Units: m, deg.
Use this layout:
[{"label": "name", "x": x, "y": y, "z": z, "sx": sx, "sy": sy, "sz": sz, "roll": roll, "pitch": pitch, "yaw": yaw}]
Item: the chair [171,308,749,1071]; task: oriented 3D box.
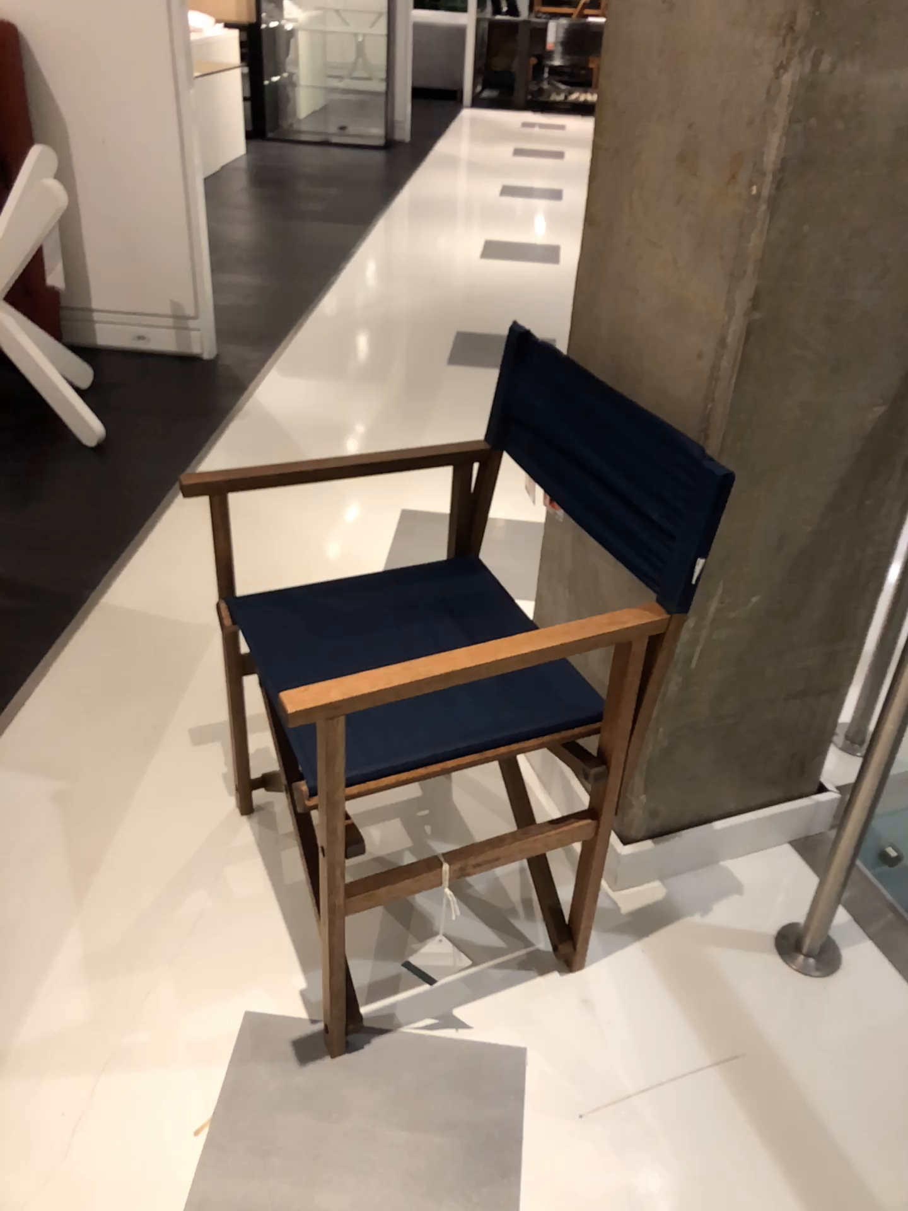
[{"label": "chair", "x": -0.052, "y": 0.077, "z": 1.383, "sx": 0.501, "sy": 0.774, "sz": 0.584, "roll": -10, "pitch": 35, "yaw": -20}]
